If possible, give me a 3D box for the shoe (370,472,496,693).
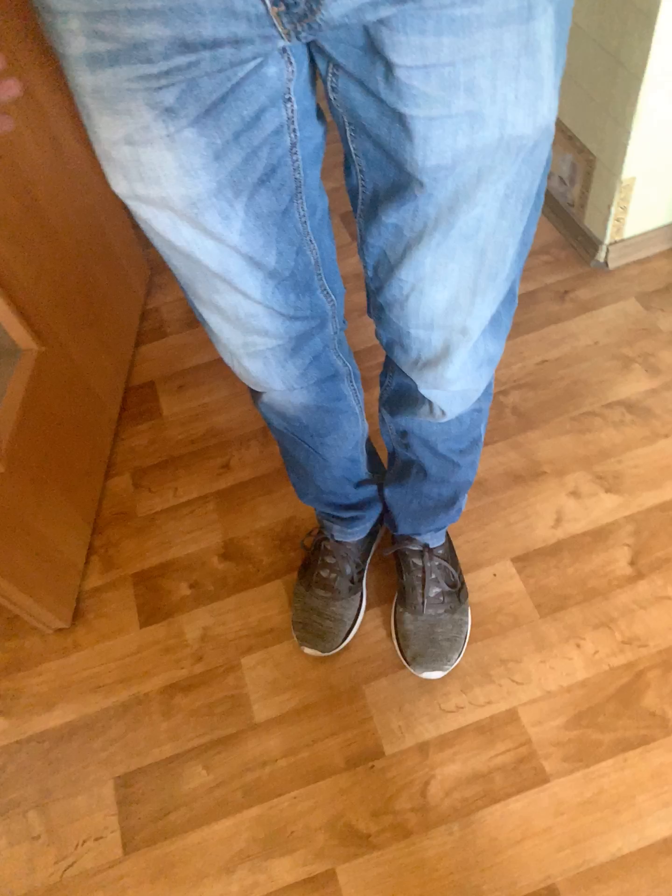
[{"bbox_3d":[0.136,0.192,1.017,0.134,0.100,0.291,-8,56,4],"label":"shoe"}]

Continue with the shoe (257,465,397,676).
[{"bbox_3d":[-0.005,0.179,1.046,0.124,0.100,0.281,10,59,15],"label":"shoe"}]
